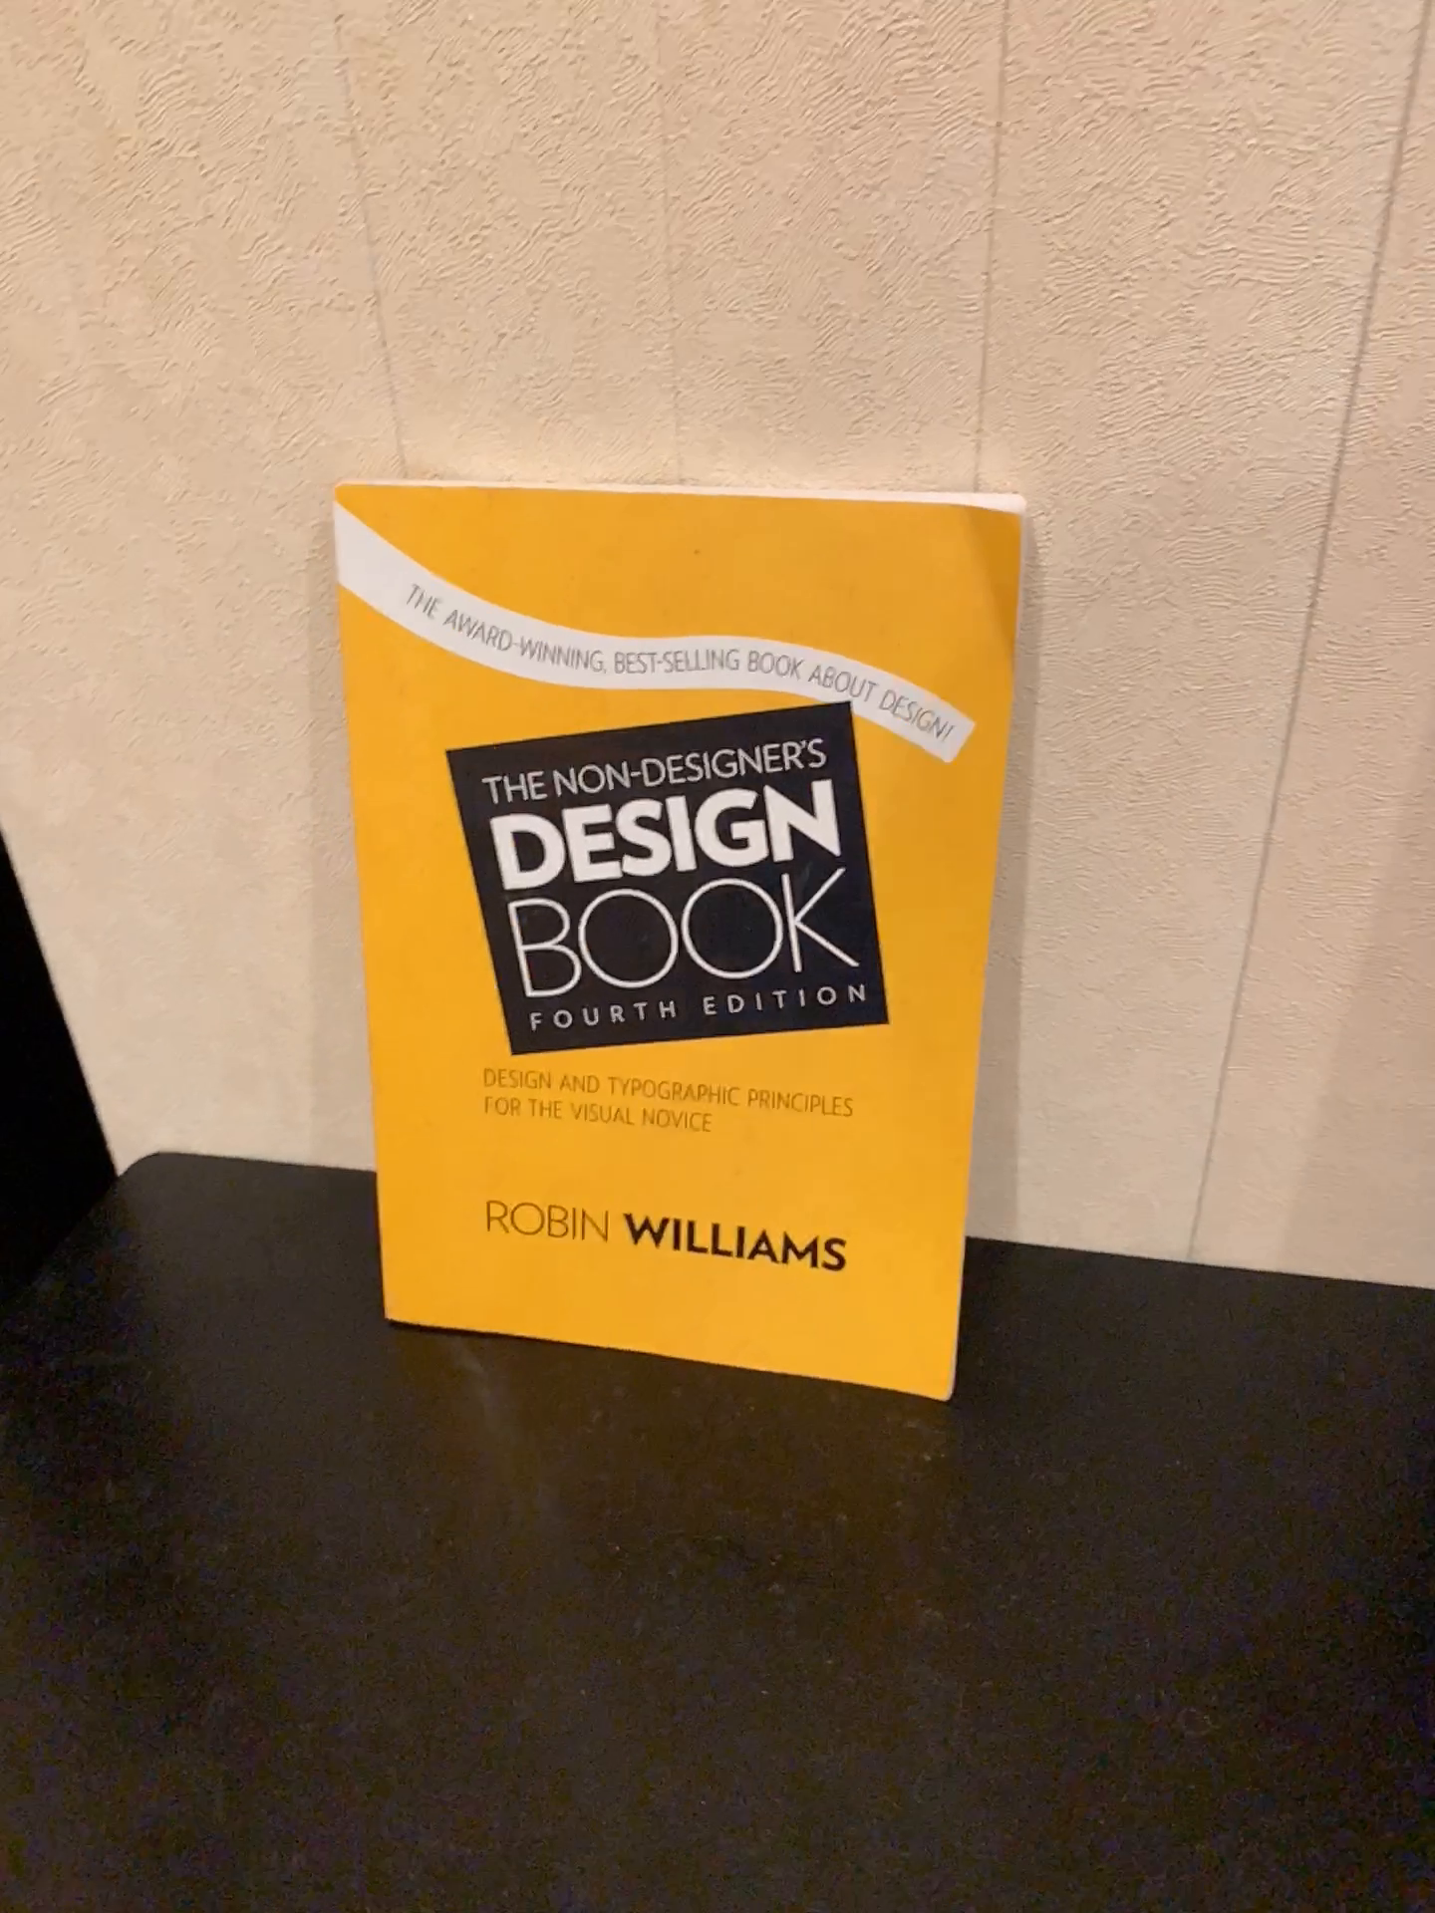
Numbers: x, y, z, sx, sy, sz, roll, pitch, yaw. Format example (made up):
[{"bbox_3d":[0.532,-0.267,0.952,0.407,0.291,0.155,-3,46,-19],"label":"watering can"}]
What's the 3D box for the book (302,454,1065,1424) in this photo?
[{"bbox_3d":[-0.012,-0.002,0.415,0.190,0.259,0.030,5,20,12],"label":"book"}]
